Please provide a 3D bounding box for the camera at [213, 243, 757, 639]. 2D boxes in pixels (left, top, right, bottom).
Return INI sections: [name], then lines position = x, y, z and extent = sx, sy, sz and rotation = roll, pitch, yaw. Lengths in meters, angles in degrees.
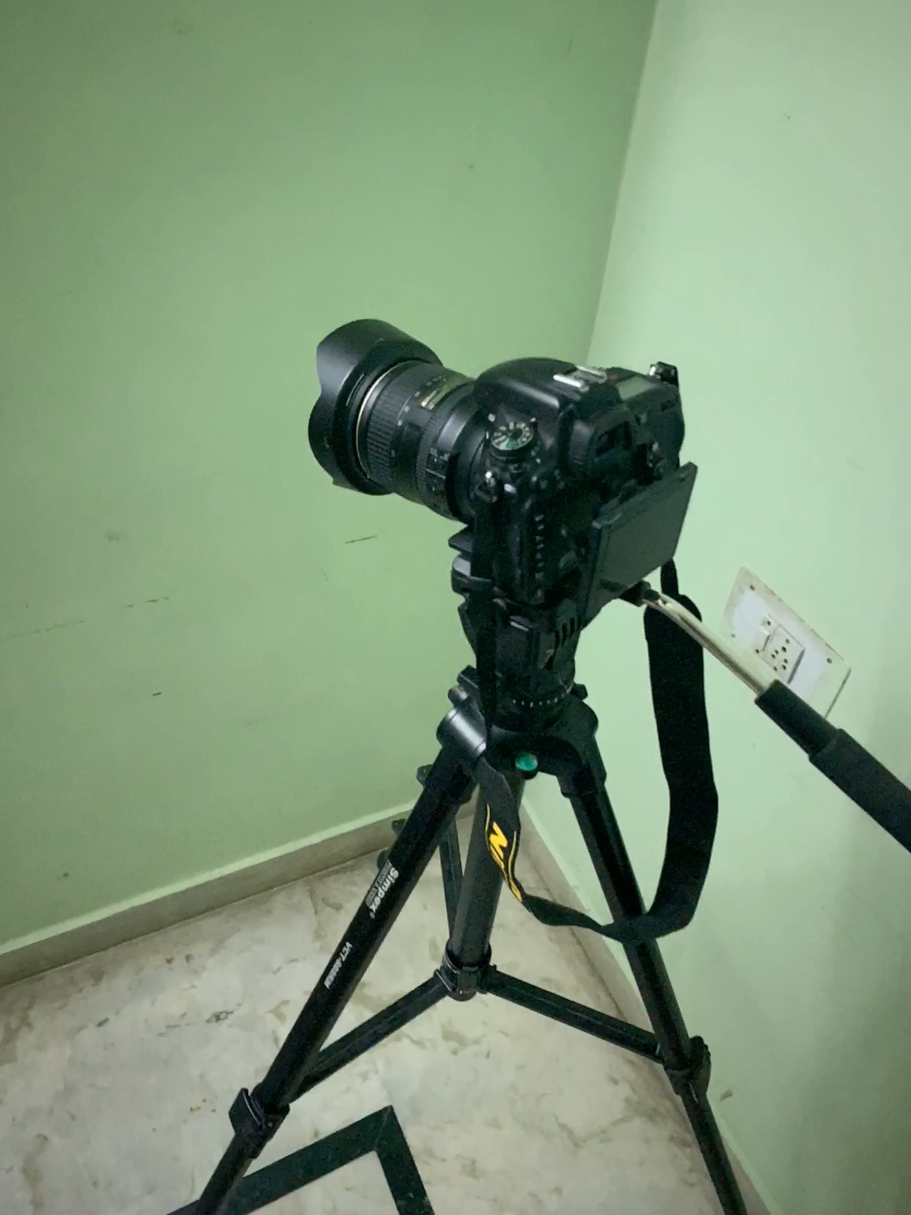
[camera]
position = 0.015, -0.119, 0.567
extent = 0.267, 0.127, 0.161
rotation = 22, 44, 29
